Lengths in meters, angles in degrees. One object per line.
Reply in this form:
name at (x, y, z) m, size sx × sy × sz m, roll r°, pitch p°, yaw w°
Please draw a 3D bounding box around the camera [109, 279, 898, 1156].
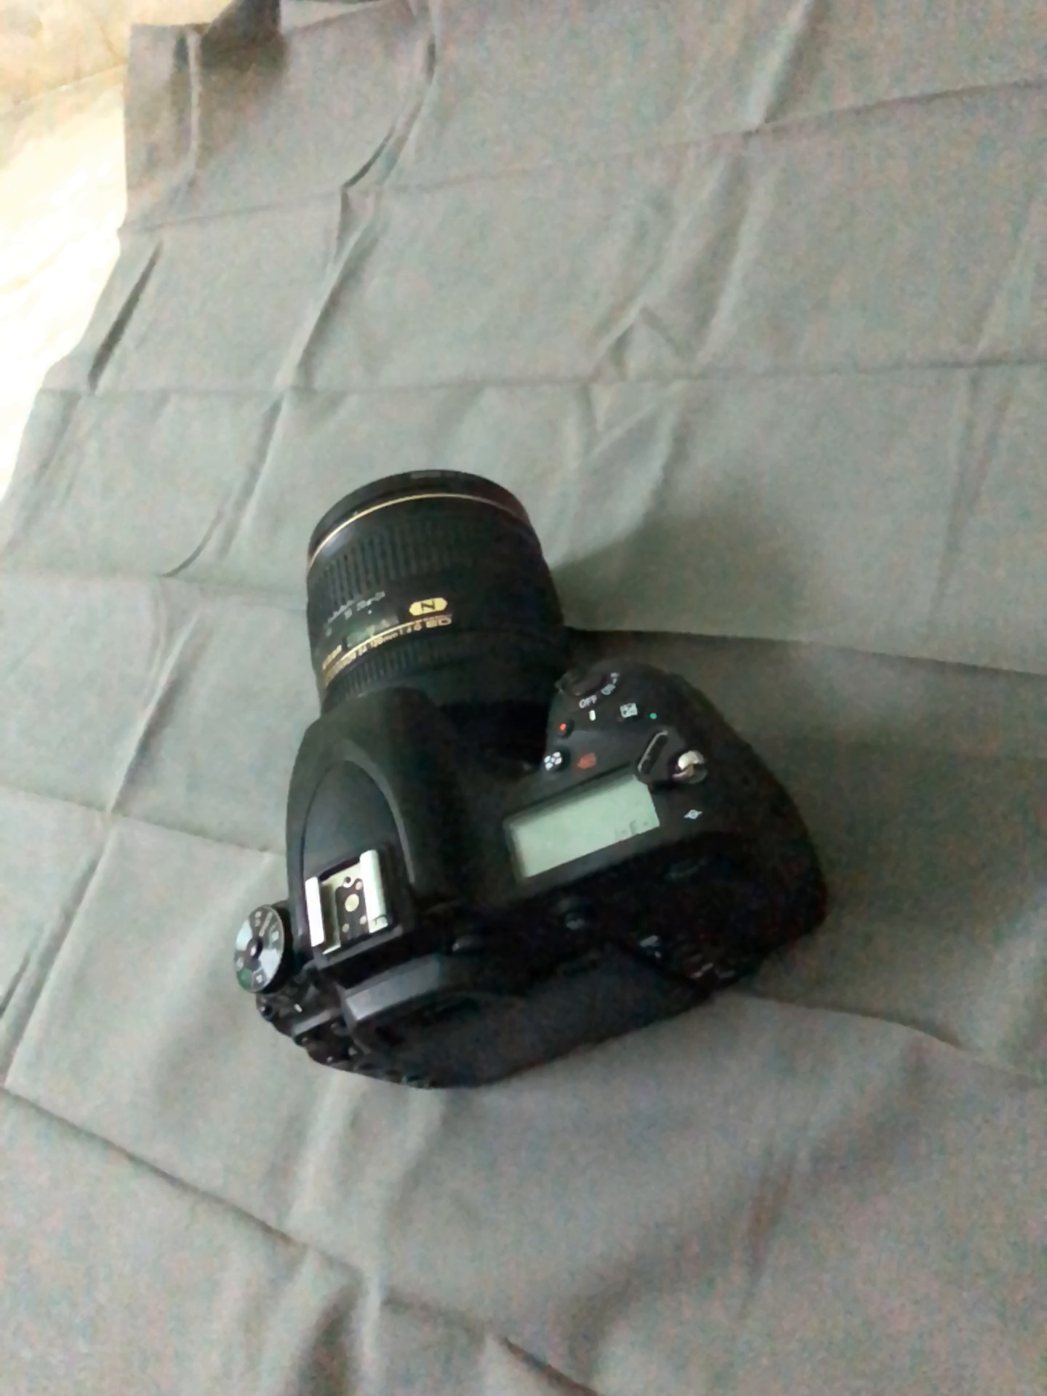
camera at (-0.011, 0.017, 0.328) m, size 0.146 × 0.134 × 0.164 m, roll -27°, pitch 55°, yaw 19°
